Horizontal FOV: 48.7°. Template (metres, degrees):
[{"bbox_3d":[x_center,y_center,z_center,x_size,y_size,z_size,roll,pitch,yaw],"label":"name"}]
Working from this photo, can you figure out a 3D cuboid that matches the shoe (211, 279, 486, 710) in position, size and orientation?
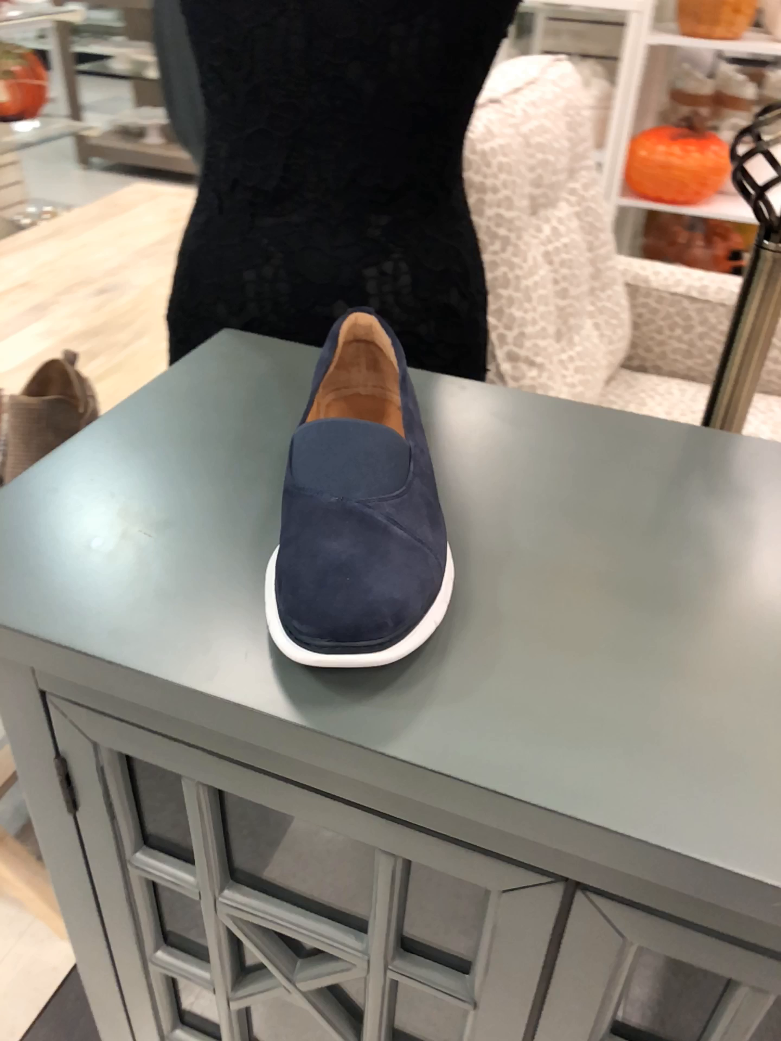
[{"bbox_3d":[-0.012,-0.035,0.481,0.109,0.102,0.272,3,35,1],"label":"shoe"}]
